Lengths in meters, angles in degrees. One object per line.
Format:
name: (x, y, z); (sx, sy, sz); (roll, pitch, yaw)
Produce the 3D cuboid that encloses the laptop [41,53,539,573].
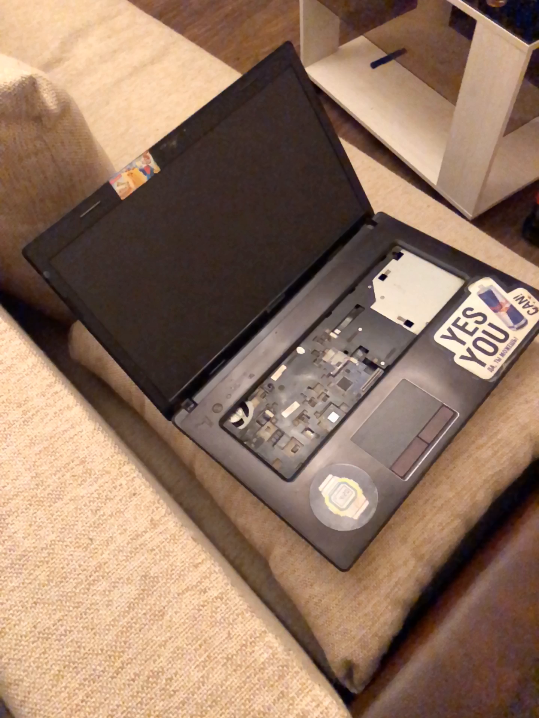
laptop: (0.058, -0.081, 0.670); (0.409, 0.198, 0.413); (36, 70, 24)
